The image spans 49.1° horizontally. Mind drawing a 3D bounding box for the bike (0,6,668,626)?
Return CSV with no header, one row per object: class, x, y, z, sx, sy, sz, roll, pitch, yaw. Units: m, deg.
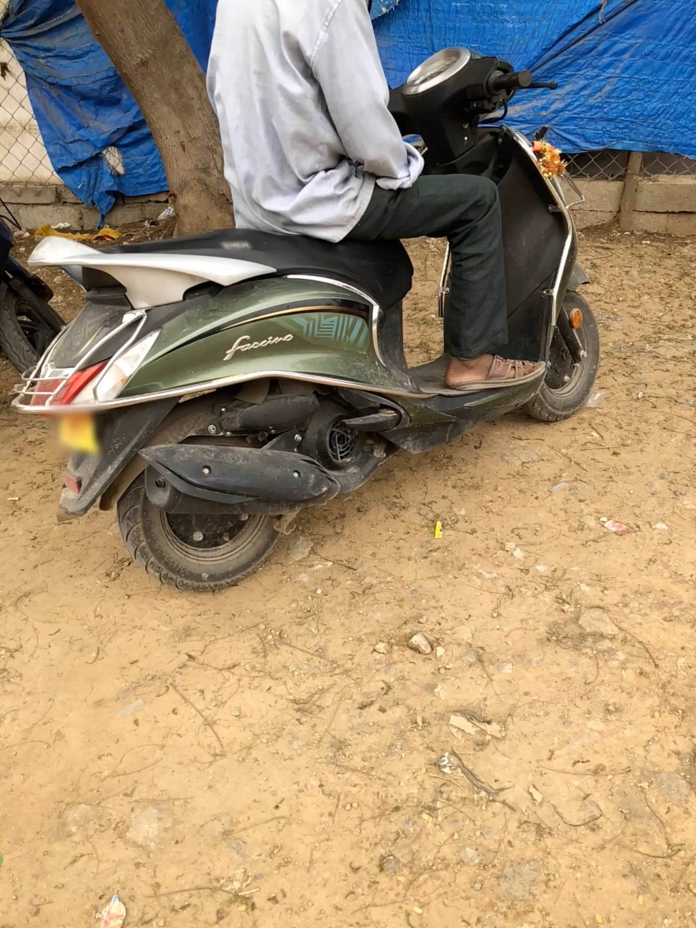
bike,0.067,-0.578,2.107,1.728,1.055,0.623,-26,36,-33
